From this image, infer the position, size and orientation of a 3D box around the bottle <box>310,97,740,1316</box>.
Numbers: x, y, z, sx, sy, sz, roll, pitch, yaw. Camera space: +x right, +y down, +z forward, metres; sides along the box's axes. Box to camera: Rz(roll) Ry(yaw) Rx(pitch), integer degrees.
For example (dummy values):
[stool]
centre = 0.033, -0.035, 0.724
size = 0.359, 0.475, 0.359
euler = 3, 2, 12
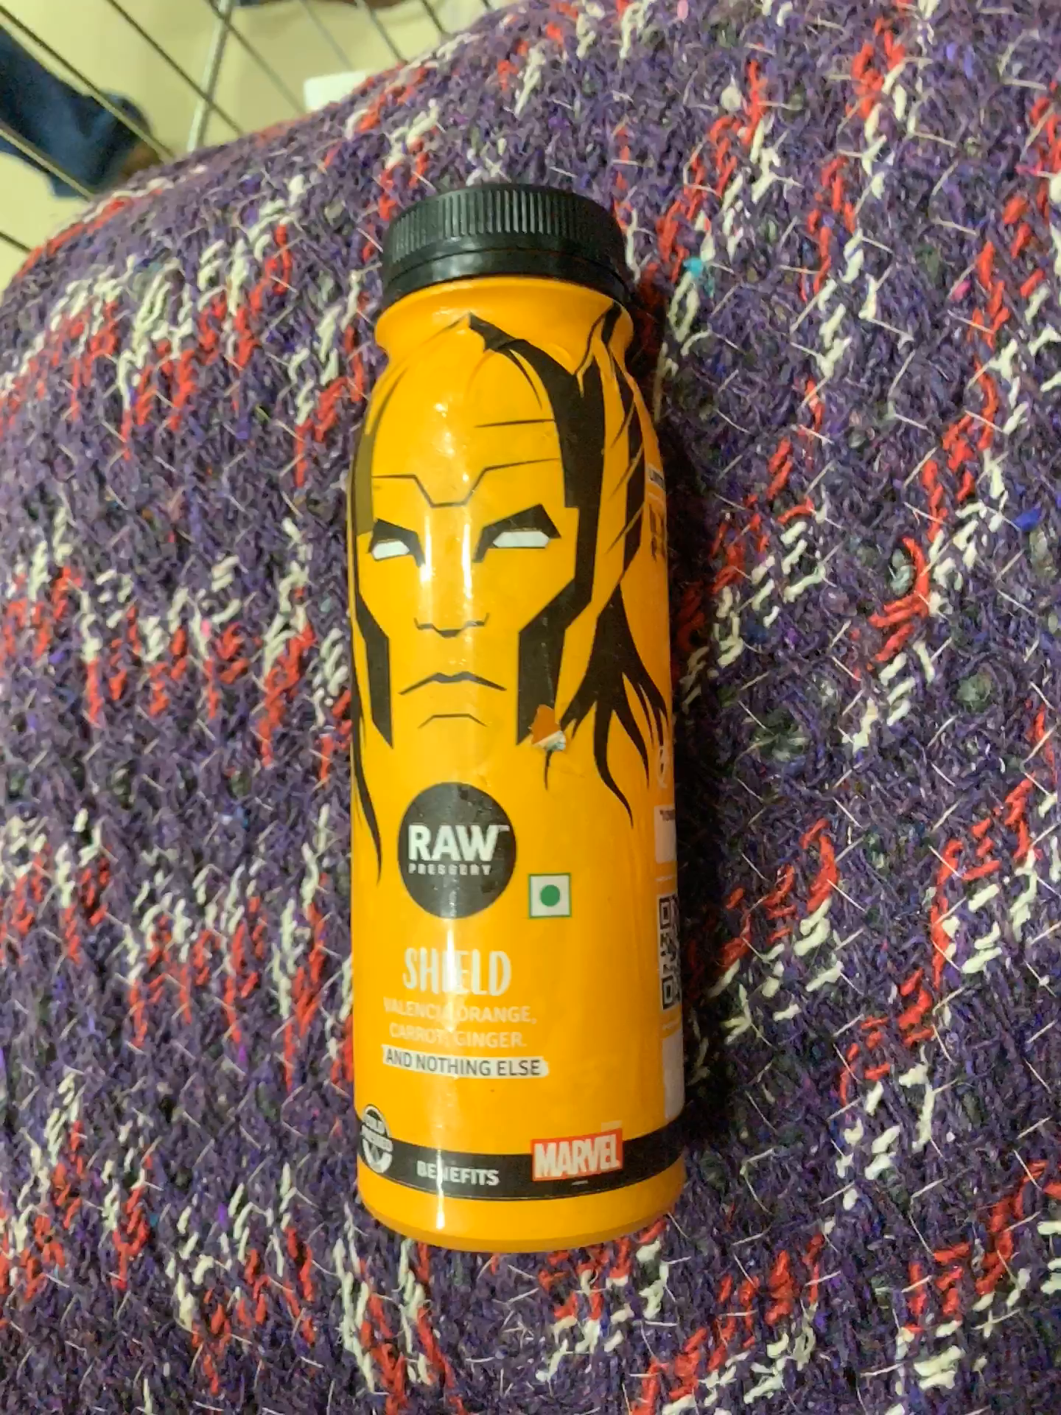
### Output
[bottle]
centre = 0.002, -0.001, 0.178
size = 0.050, 0.050, 0.160
euler = -2, 85, 25
